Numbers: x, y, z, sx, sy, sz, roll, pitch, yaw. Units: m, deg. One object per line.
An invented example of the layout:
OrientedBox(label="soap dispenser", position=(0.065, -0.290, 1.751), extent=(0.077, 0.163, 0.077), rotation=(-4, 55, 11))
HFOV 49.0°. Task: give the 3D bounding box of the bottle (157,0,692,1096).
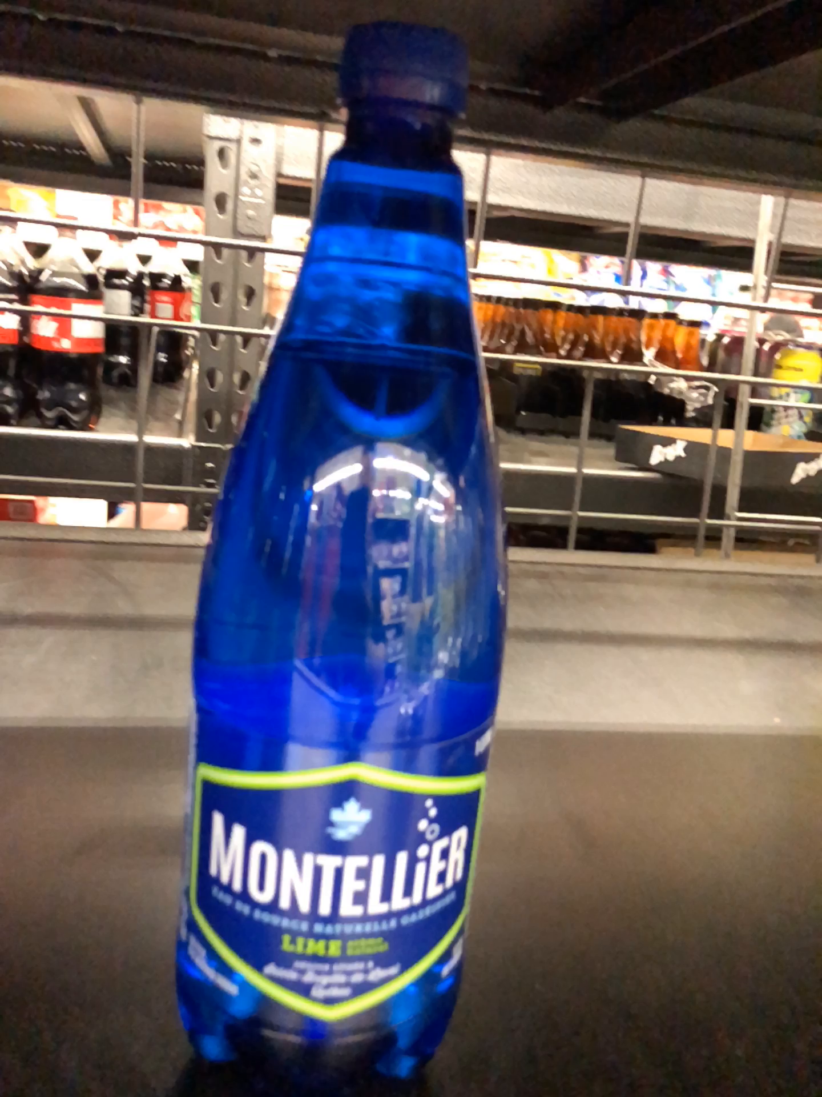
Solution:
OrientedBox(label="bottle", position=(-0.012, 0.009, 0.261), extent=(0.100, 0.289, 0.090), rotation=(4, 16, -10))
